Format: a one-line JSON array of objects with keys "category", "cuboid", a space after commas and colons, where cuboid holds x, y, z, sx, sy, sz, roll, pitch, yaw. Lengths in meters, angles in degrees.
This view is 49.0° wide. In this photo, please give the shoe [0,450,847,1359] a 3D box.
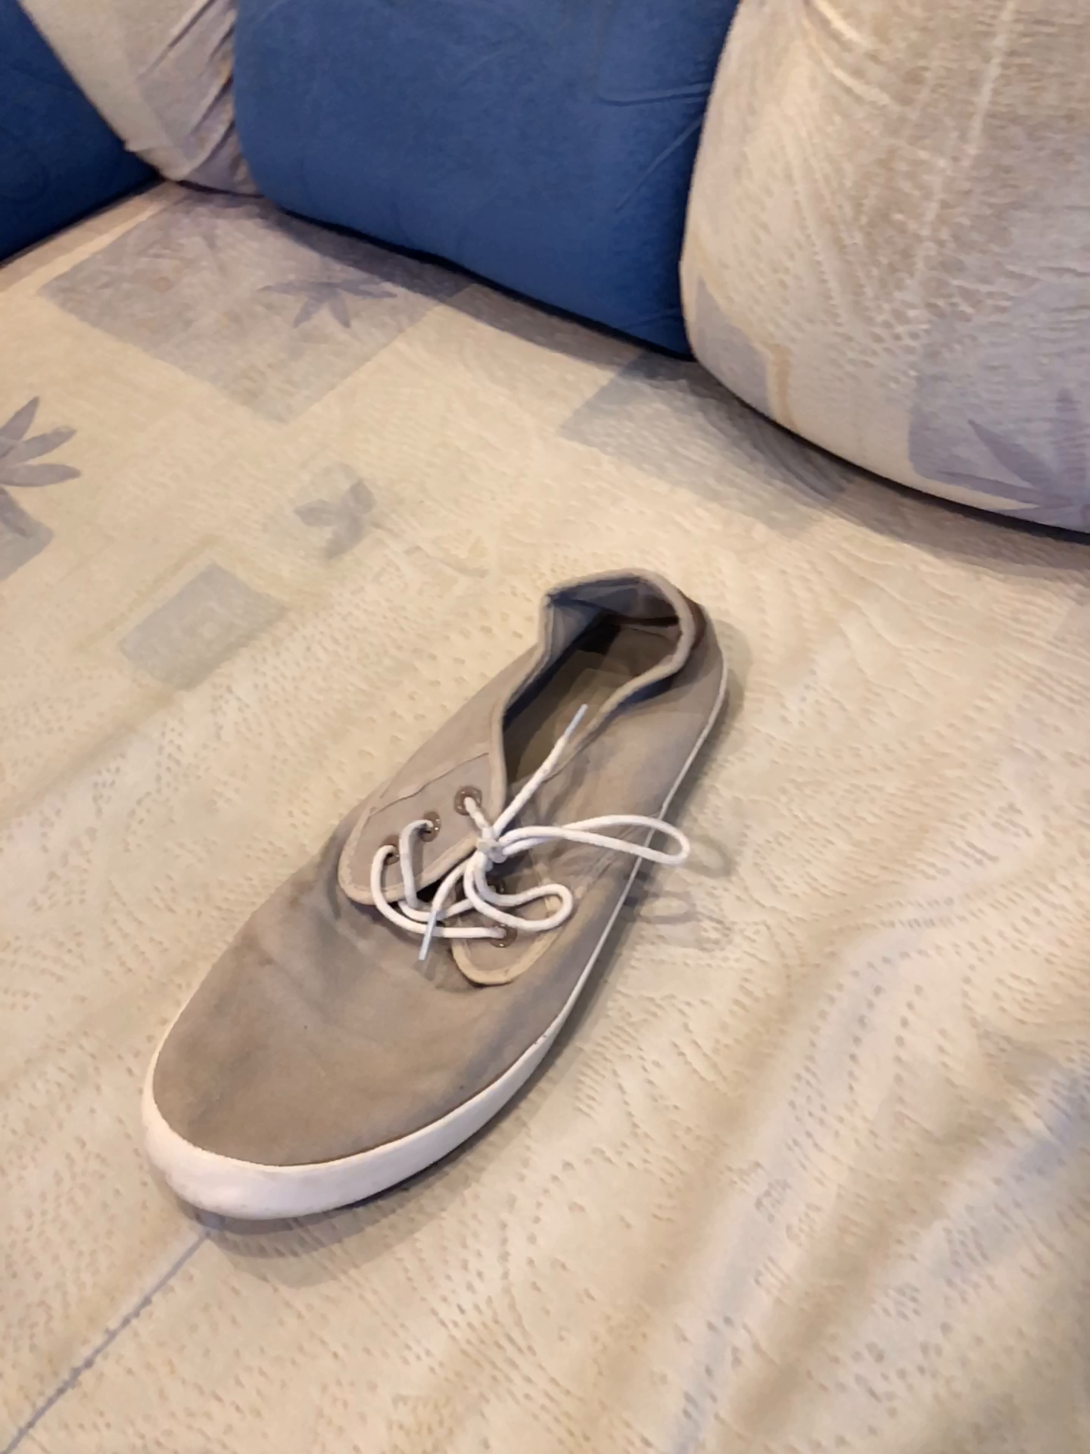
[{"category": "shoe", "cuboid": [-0.022, 0.035, 0.382, 0.110, 0.079, 0.271, 28, 58, 25]}]
